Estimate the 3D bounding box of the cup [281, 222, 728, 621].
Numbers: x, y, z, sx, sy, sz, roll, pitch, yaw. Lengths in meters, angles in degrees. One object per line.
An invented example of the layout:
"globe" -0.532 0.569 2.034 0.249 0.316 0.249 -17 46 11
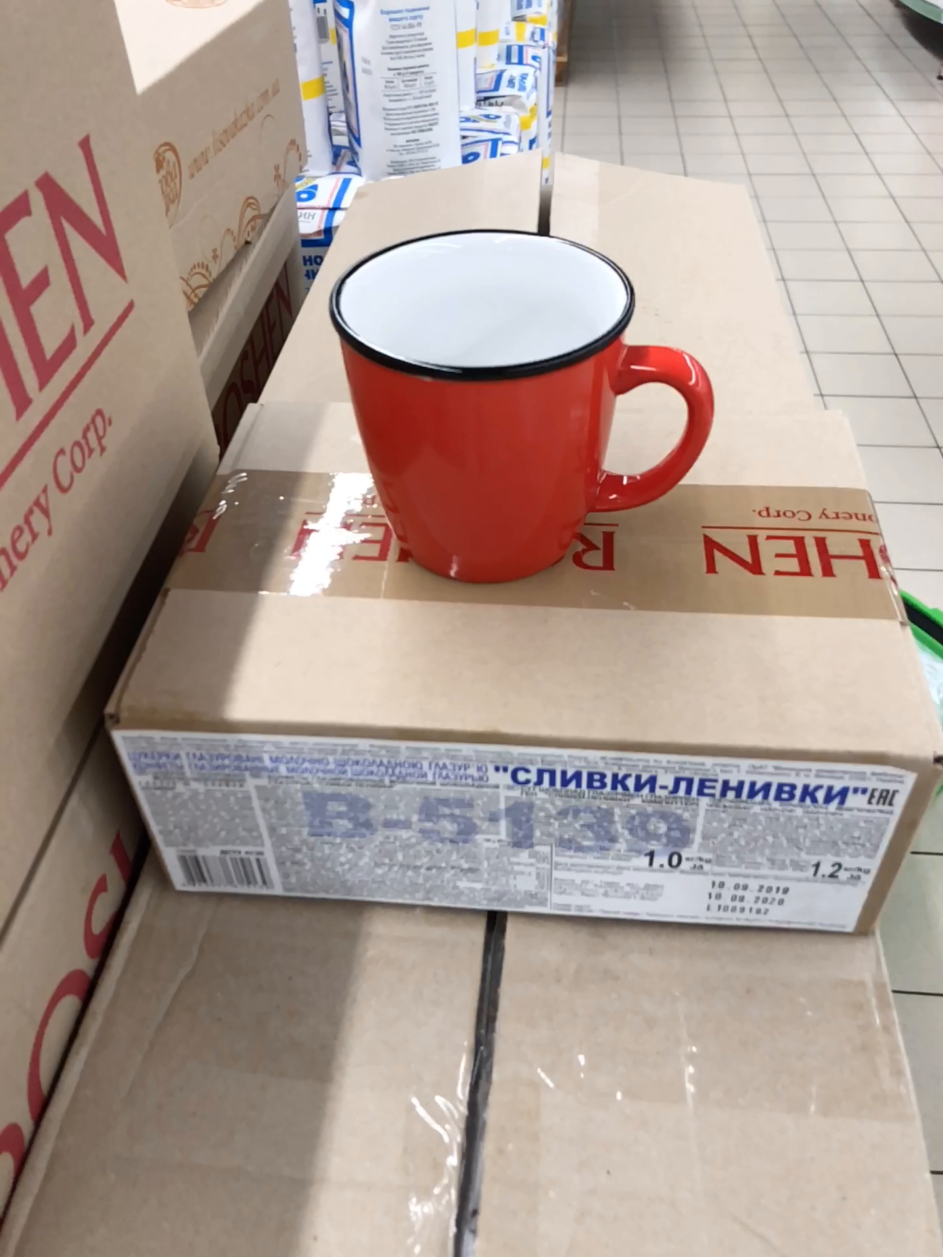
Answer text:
"cup" 0.017 -0.074 0.354 0.127 0.089 0.097 6 42 8
